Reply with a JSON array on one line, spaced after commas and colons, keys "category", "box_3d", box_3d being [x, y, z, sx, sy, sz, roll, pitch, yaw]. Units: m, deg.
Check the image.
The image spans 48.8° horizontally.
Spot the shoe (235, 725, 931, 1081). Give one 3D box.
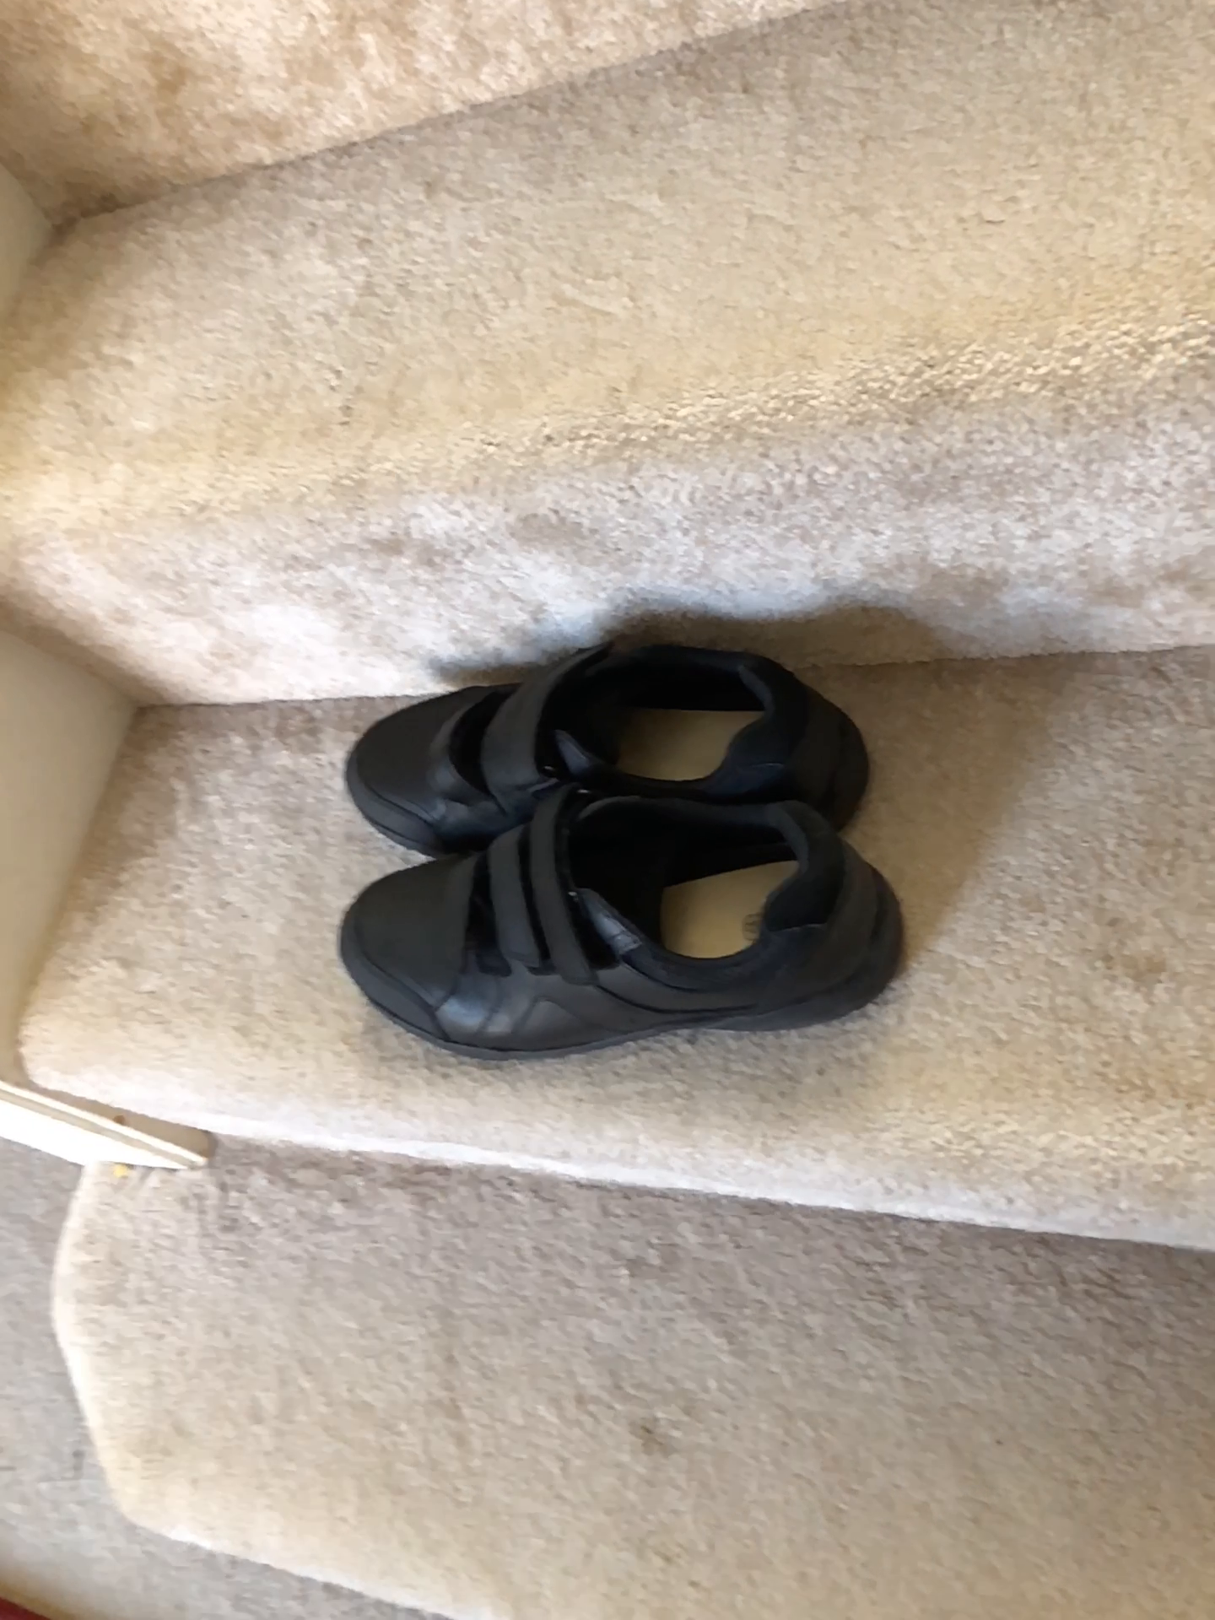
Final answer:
[{"category": "shoe", "box_3d": [-0.009, 0.049, 0.572, 0.270, 0.099, 0.100, -6, 60, 24]}]

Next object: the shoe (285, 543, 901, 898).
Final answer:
[{"category": "shoe", "box_3d": [-0.005, -0.034, 0.644, 0.270, 0.099, 0.100, -6, 60, 24]}]
